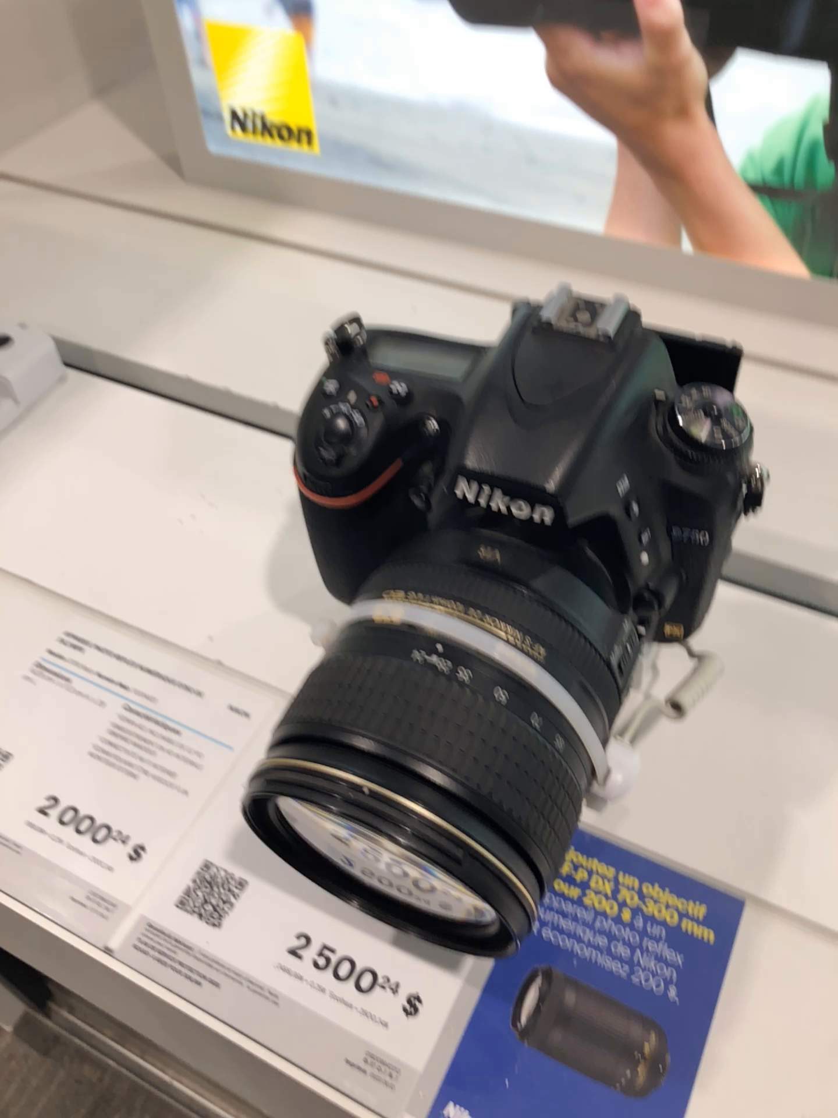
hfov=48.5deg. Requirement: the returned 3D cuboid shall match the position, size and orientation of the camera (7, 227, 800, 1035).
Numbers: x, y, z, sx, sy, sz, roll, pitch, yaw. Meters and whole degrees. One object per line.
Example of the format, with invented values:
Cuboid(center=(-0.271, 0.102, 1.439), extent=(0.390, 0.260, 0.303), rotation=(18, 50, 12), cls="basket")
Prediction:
Cuboid(center=(0.012, 0.004, 0.275), extent=(0.138, 0.099, 0.184), rotation=(17, 51, 18), cls="camera")
